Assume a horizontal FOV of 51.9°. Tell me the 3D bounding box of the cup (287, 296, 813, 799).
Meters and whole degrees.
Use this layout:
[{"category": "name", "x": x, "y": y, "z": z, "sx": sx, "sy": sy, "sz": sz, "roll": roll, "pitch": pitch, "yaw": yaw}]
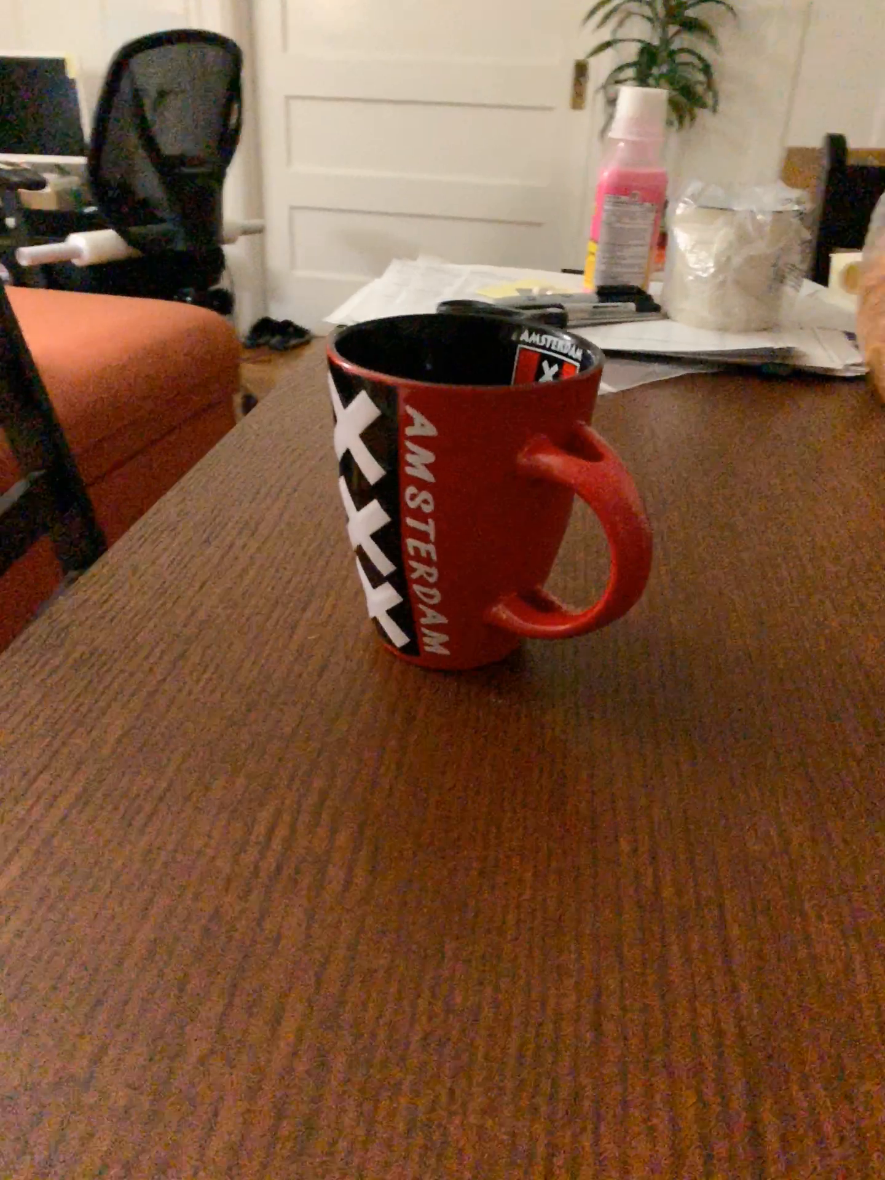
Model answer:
[{"category": "cup", "x": 0.023, "y": -0.026, "z": 0.291, "sx": 0.090, "sy": 0.099, "sz": 0.131, "roll": -18, "pitch": 35, "yaw": -32}]
